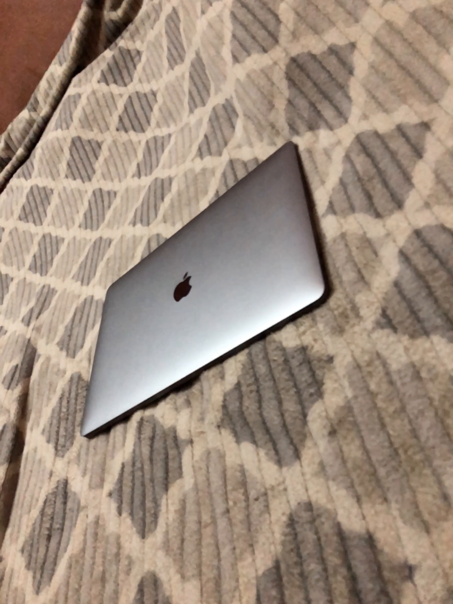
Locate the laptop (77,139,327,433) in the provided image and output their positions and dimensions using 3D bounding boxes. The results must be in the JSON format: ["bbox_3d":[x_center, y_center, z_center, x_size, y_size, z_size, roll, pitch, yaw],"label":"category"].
[{"bbox_3d":[-0.051,-0.016,0.588,0.358,0.007,0.247,-33,39,30],"label":"laptop"}]
